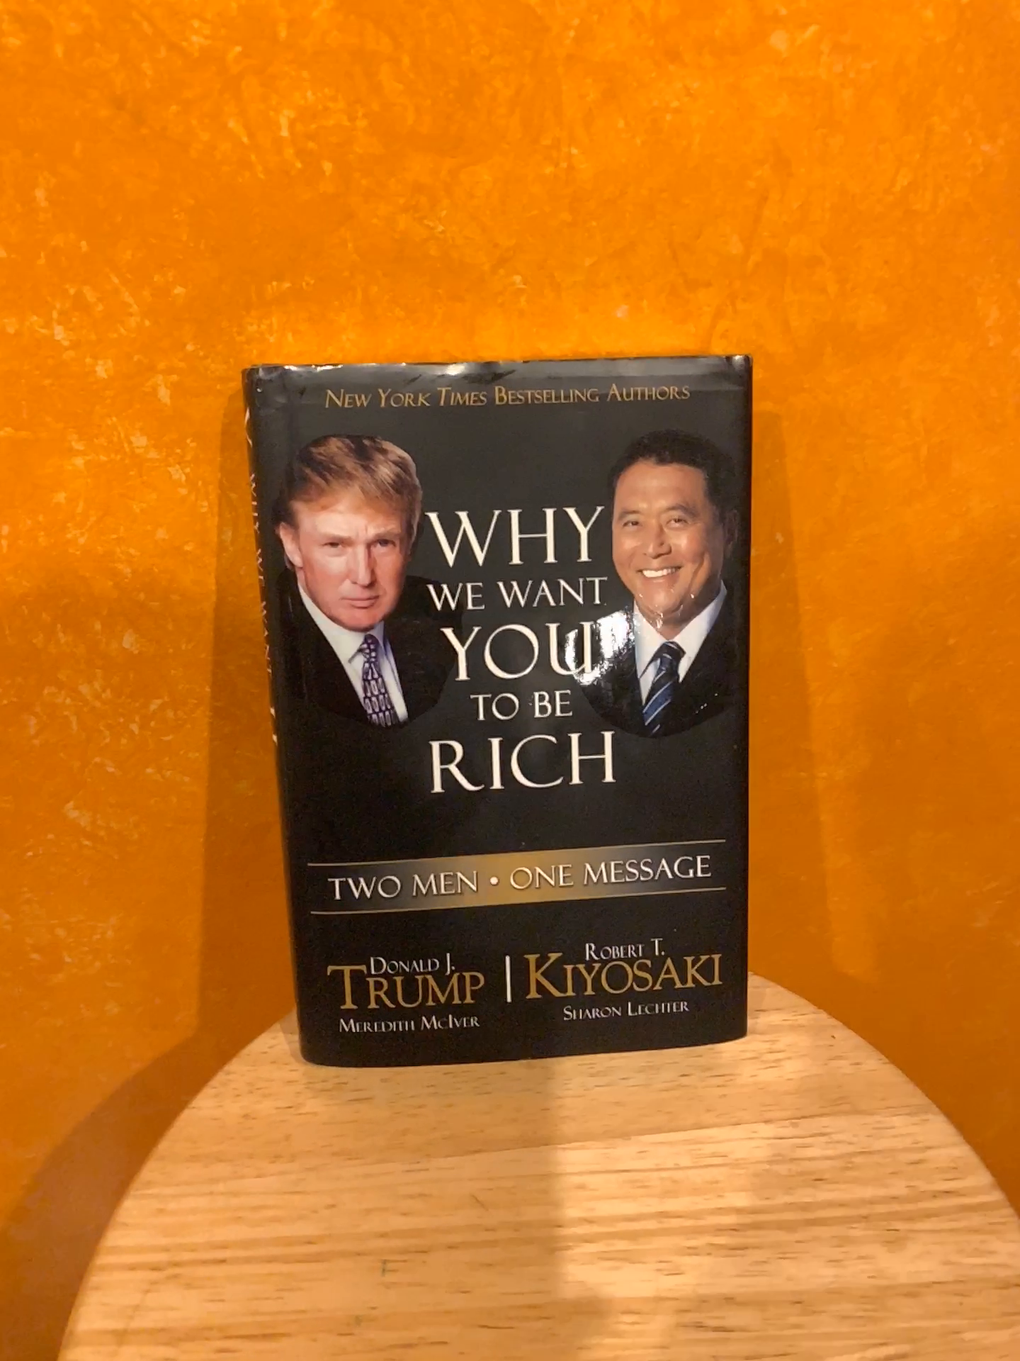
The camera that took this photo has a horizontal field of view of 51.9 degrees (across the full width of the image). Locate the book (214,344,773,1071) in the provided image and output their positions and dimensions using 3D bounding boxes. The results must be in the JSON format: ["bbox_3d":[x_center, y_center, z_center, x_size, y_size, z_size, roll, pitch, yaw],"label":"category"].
[{"bbox_3d":[-0.002,0.009,0.326,0.151,0.210,0.044,-2,12,-3],"label":"book"}]
